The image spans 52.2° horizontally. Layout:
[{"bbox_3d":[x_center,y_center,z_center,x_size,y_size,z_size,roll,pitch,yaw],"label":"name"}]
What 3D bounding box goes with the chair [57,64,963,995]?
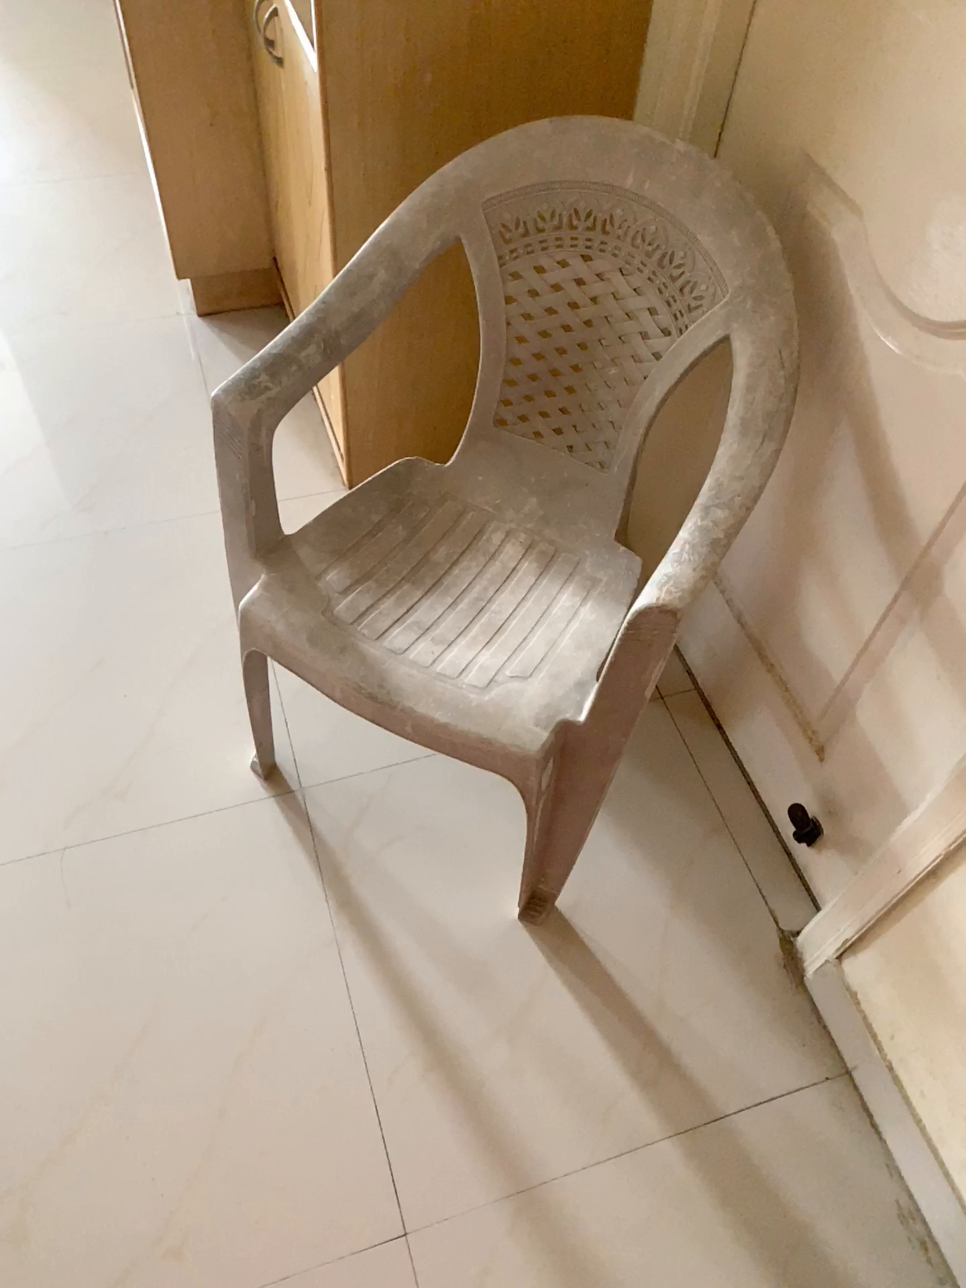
[{"bbox_3d":[0.047,-0.132,1.229,0.611,0.725,0.674,28,56,16],"label":"chair"}]
